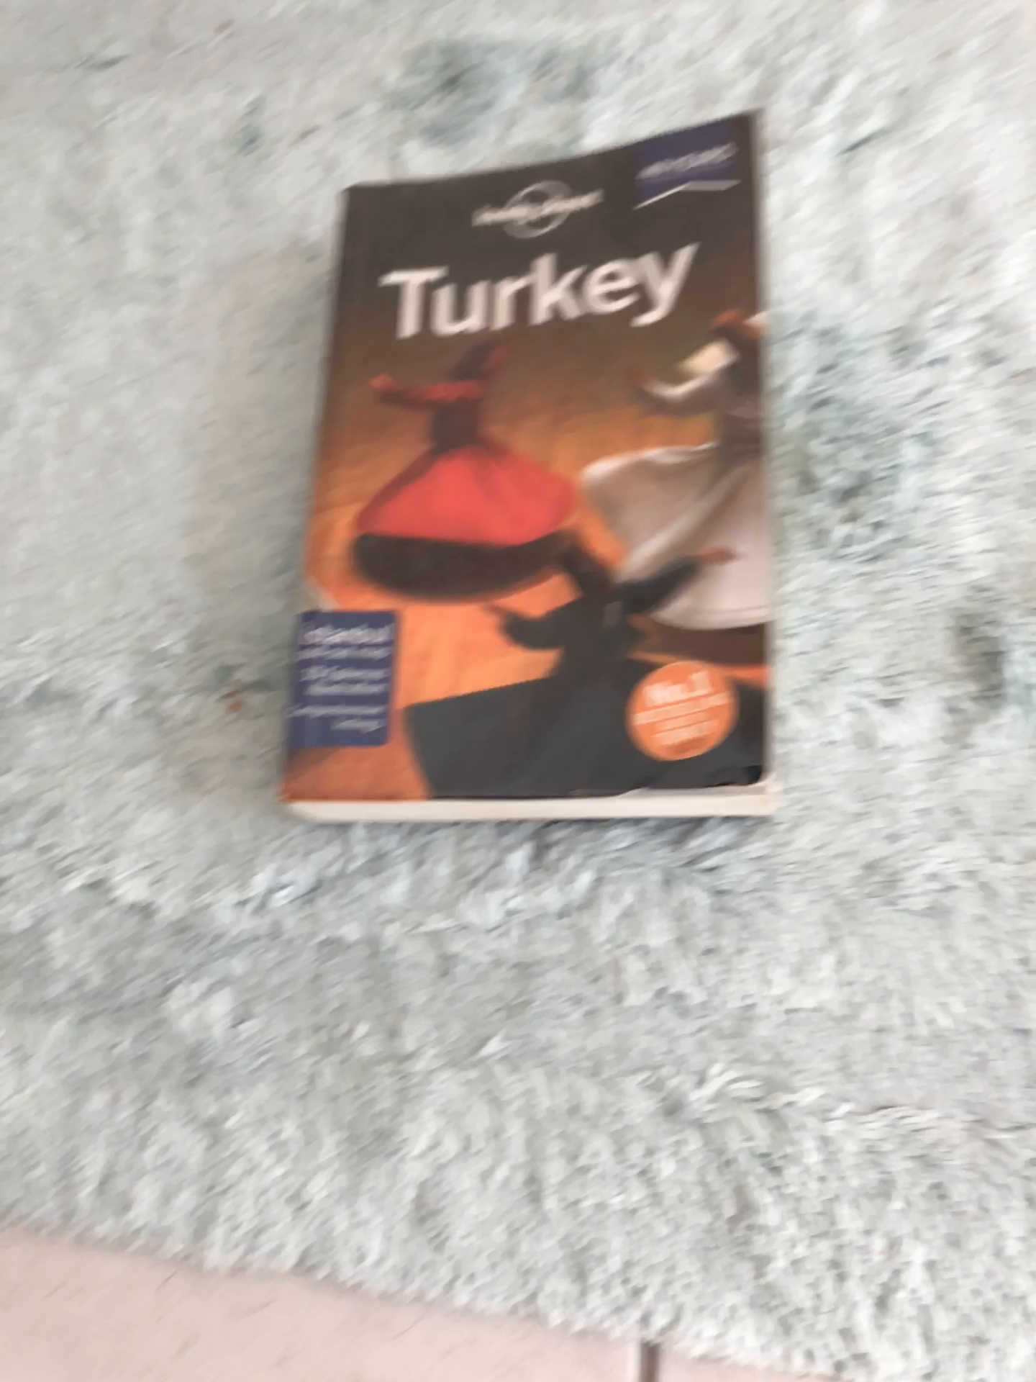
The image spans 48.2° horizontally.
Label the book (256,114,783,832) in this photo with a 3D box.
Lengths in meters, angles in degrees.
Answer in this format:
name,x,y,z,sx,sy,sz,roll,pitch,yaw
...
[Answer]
name,x,y,z,sx,sy,sz,roll,pitch,yaw
book,0.006,-0.058,0.329,0.130,0.046,0.190,-2,73,15
